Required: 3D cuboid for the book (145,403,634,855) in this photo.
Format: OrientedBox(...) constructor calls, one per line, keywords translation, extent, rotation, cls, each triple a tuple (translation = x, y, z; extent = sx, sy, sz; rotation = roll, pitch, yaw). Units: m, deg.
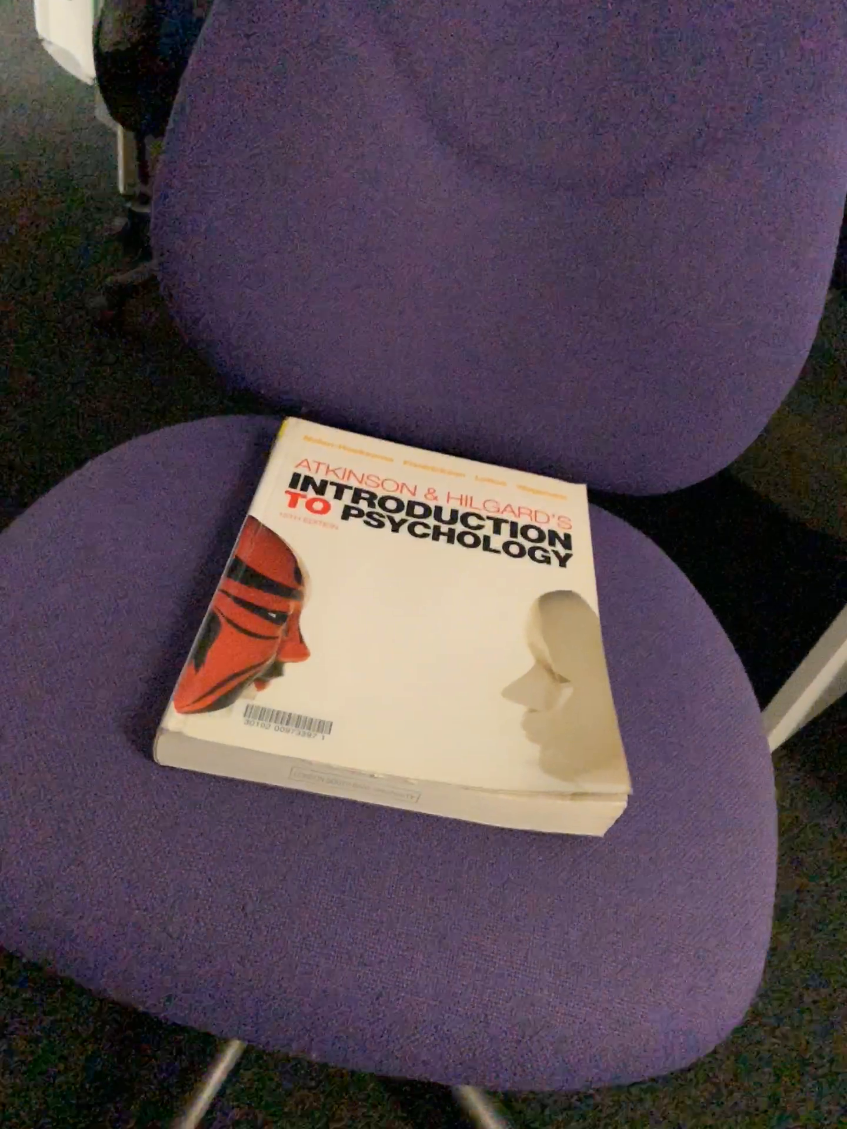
OrientedBox(translation=(-0.005, 0.014, 0.508), extent=(0.222, 0.034, 0.285), rotation=(13, 38, -4), cls="book")
